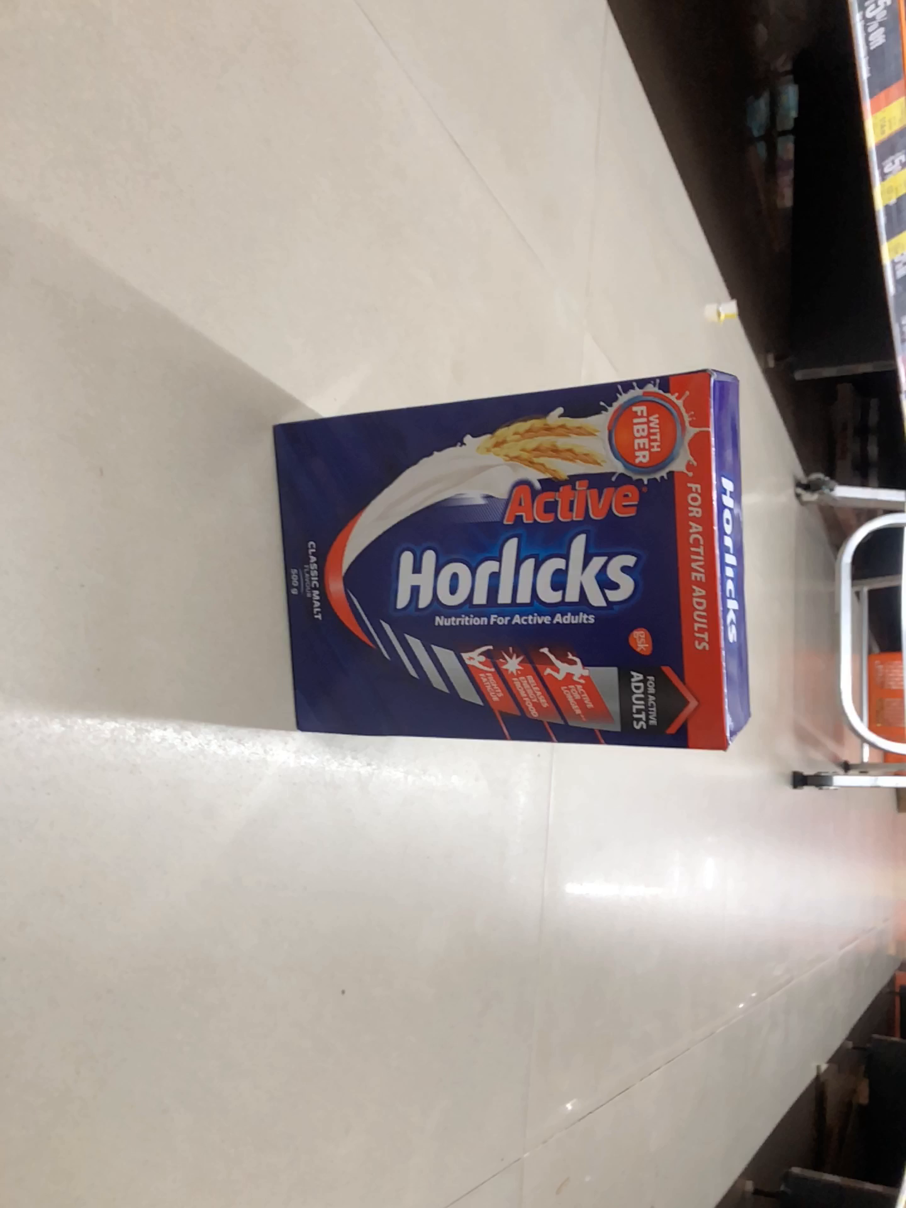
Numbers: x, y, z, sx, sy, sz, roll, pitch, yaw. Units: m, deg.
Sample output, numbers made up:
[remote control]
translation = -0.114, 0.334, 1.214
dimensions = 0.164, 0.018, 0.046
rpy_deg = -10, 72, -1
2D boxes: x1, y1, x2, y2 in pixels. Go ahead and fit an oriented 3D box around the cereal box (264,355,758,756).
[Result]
[cereal box]
translation = 0.021, -0.018, 0.411
dimensions = 0.050, 0.189, 0.140
rpy_deg = -17, 105, -63
